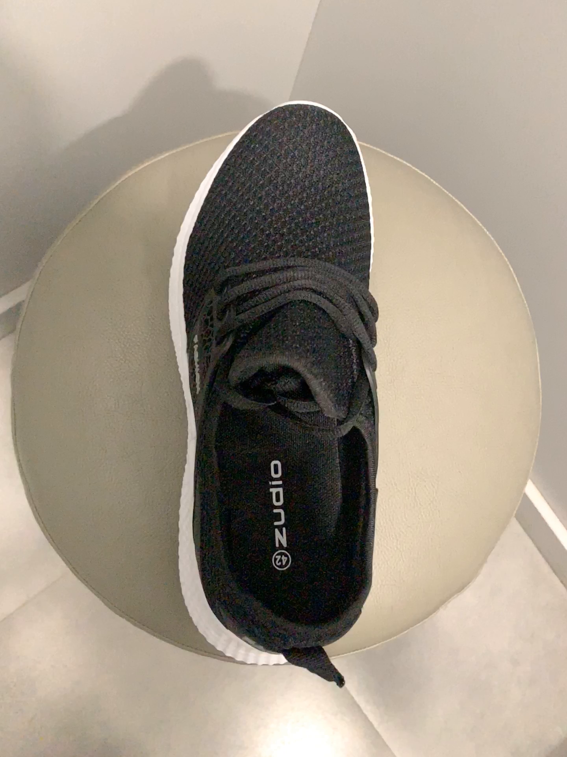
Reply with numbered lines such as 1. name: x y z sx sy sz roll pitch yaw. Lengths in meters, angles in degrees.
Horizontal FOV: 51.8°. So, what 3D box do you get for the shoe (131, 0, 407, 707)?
1. shoe: -0.008 -0.014 0.293 0.100 0.110 0.290 4 82 -9
